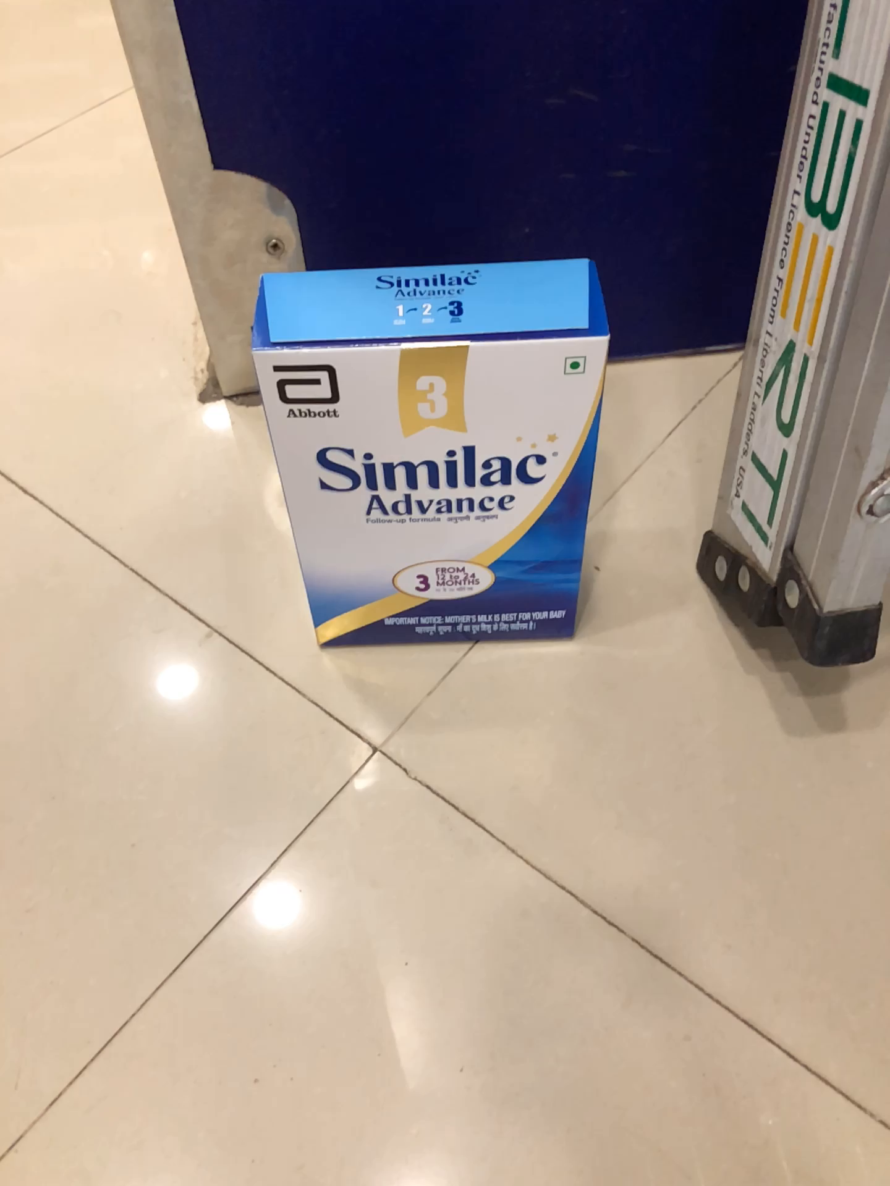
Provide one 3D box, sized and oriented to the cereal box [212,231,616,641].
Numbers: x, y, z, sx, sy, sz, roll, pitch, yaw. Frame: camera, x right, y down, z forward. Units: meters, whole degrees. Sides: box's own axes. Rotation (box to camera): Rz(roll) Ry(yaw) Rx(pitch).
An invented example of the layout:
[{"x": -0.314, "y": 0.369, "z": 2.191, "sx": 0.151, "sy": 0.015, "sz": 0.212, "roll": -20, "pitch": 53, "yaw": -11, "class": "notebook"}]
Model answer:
[{"x": -0.008, "y": -0.056, "z": 0.436, "sx": 0.140, "sy": 0.199, "sz": 0.050, "roll": -2, "pitch": 55, "yaw": 1, "class": "cereal box"}]
